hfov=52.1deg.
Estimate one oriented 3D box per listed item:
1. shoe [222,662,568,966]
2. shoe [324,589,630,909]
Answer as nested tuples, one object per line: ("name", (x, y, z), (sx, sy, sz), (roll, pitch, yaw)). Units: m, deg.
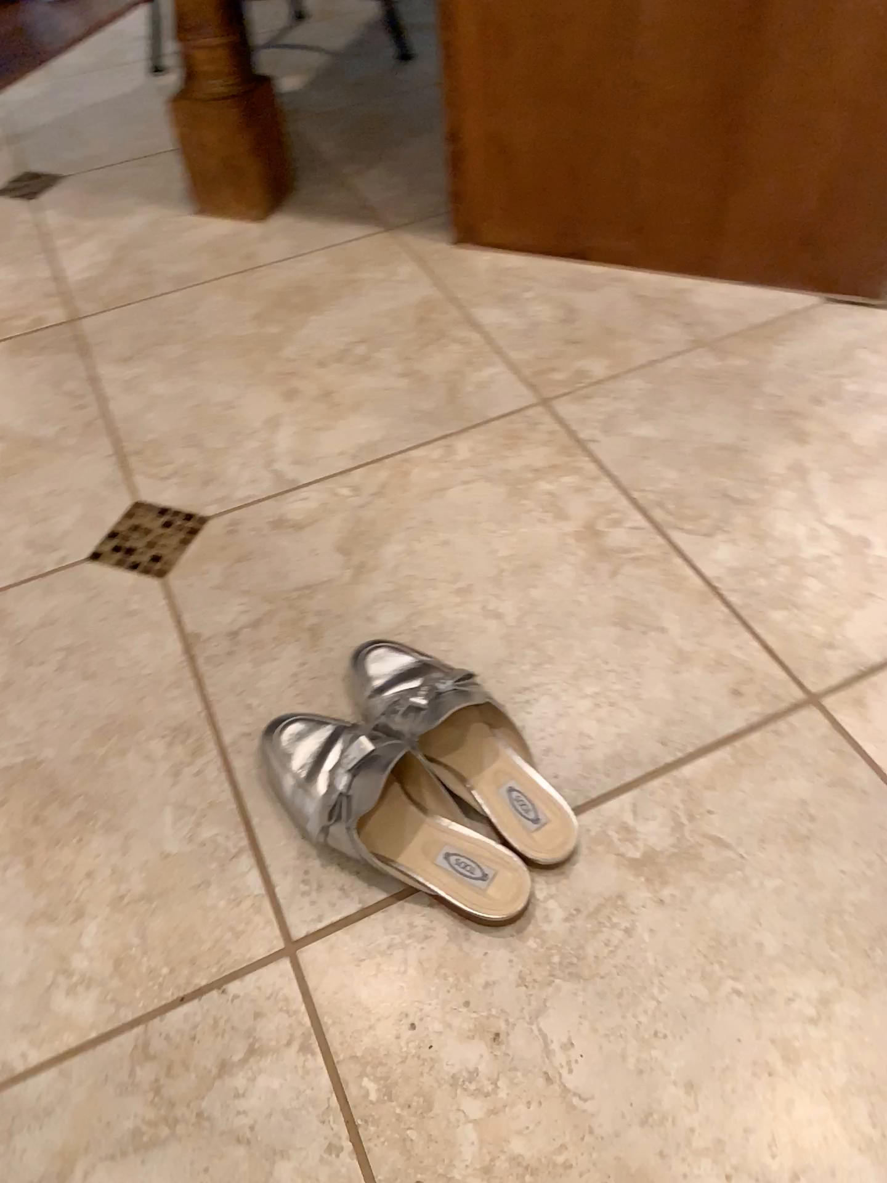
("shoe", (-0.043, 0.174, 0.749), (0.280, 0.077, 0.092), (27, 56, 26))
("shoe", (0.021, 0.125, 0.793), (0.102, 0.077, 0.278), (-33, 54, -22))
